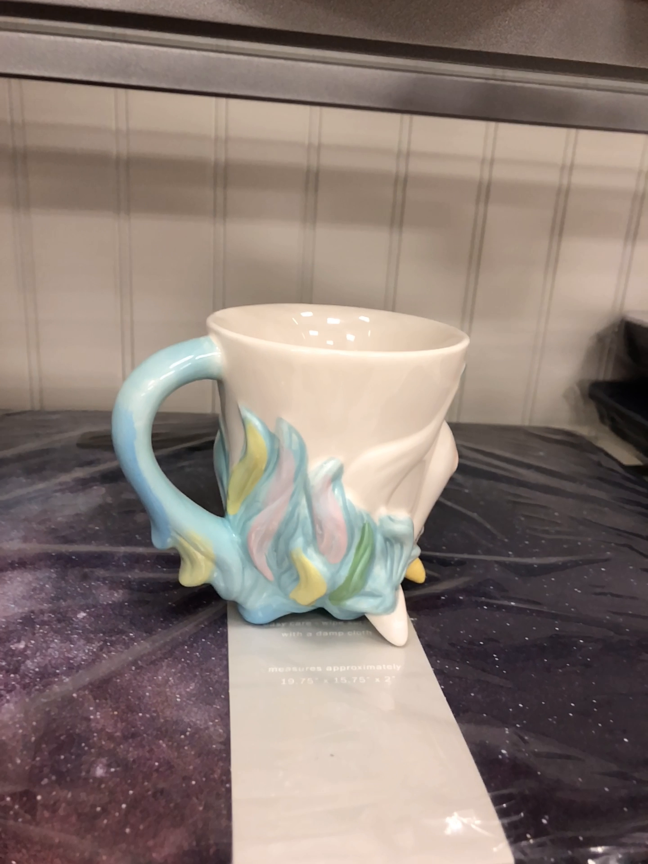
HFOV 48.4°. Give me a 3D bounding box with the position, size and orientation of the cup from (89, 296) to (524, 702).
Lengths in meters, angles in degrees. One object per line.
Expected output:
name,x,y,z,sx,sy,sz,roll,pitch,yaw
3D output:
cup,-0.017,0.014,0.290,0.140,0.118,0.101,-3,20,-20
